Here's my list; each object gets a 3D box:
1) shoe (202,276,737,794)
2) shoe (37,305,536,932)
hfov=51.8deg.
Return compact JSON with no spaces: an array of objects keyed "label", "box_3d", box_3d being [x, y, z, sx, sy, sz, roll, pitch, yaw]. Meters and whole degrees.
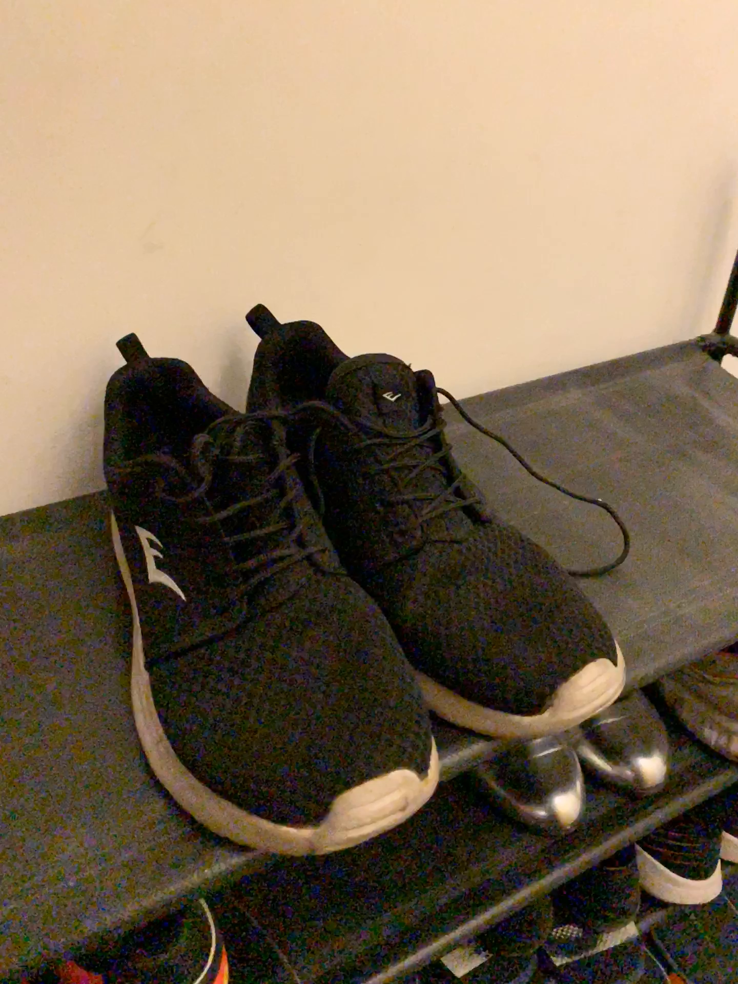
[{"label":"shoe","box_3d":[0.024,-0.014,0.403,0.120,0.099,0.302,-17,37,-24]},{"label":"shoe","box_3d":[-0.066,0.016,0.359,0.110,0.099,0.302,-16,37,-23]}]
